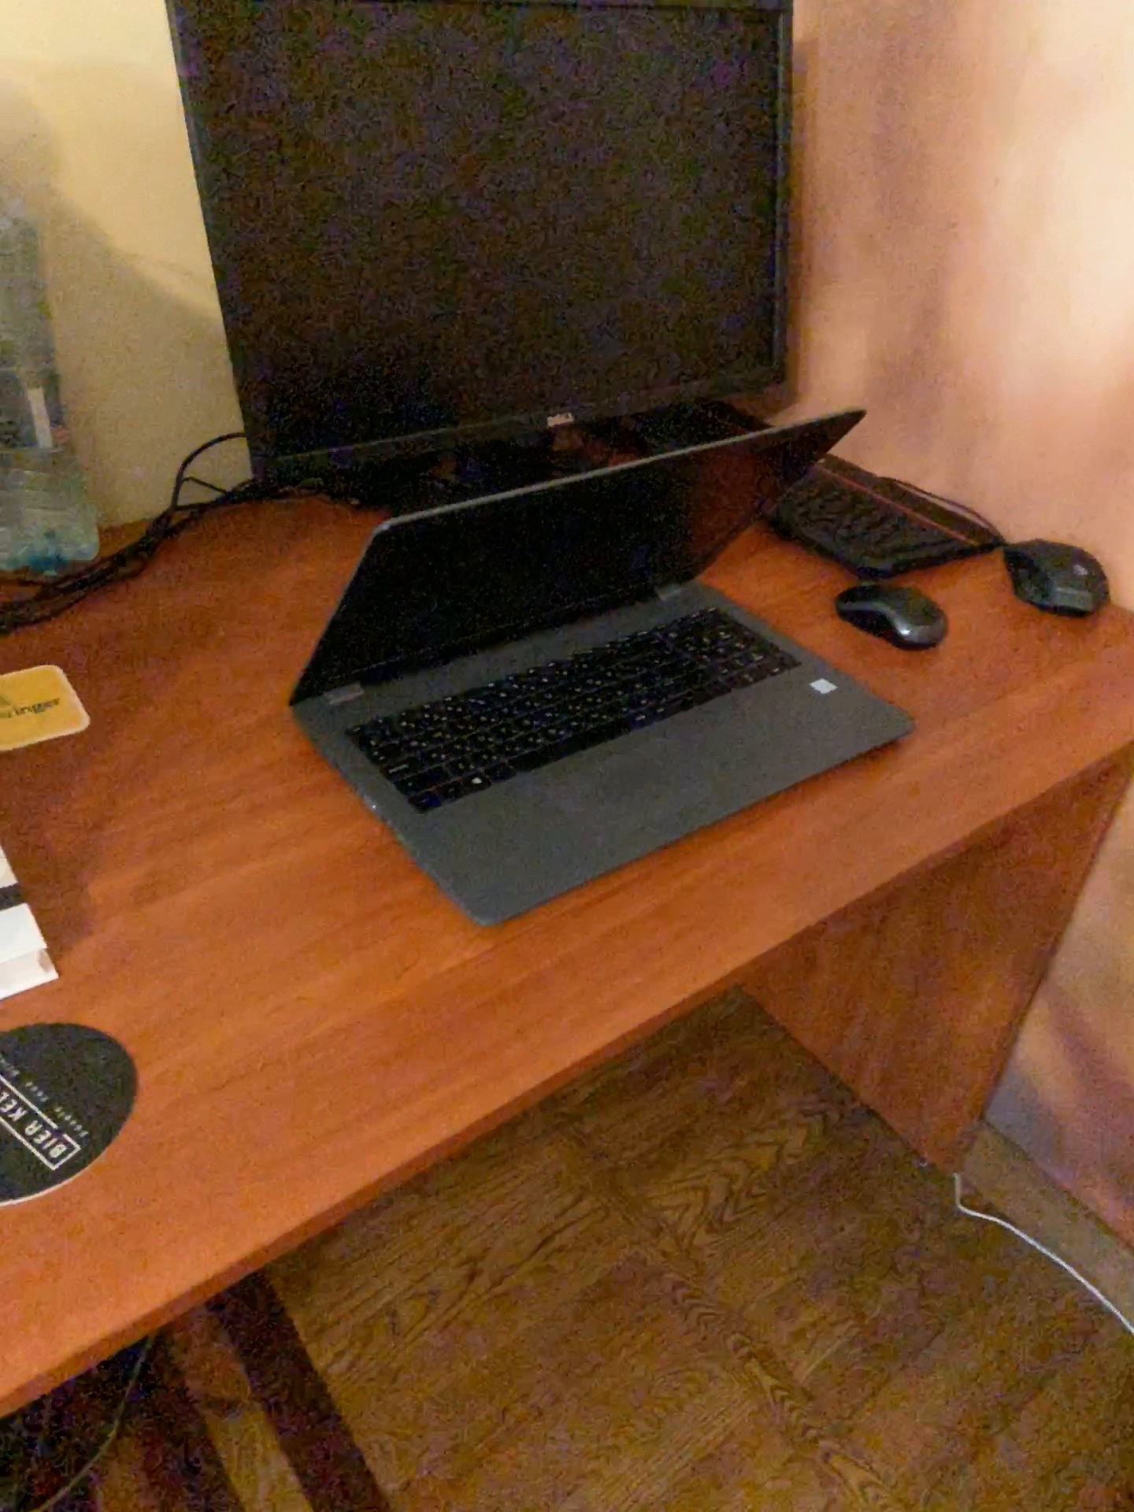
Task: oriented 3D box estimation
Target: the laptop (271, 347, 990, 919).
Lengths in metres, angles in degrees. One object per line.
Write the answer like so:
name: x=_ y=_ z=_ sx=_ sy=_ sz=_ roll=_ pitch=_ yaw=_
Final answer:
laptop: x=0.038 y=-0.106 z=0.736 sx=0.360 sy=0.191 sz=0.232 roll=-22 pitch=44 yaw=-31
